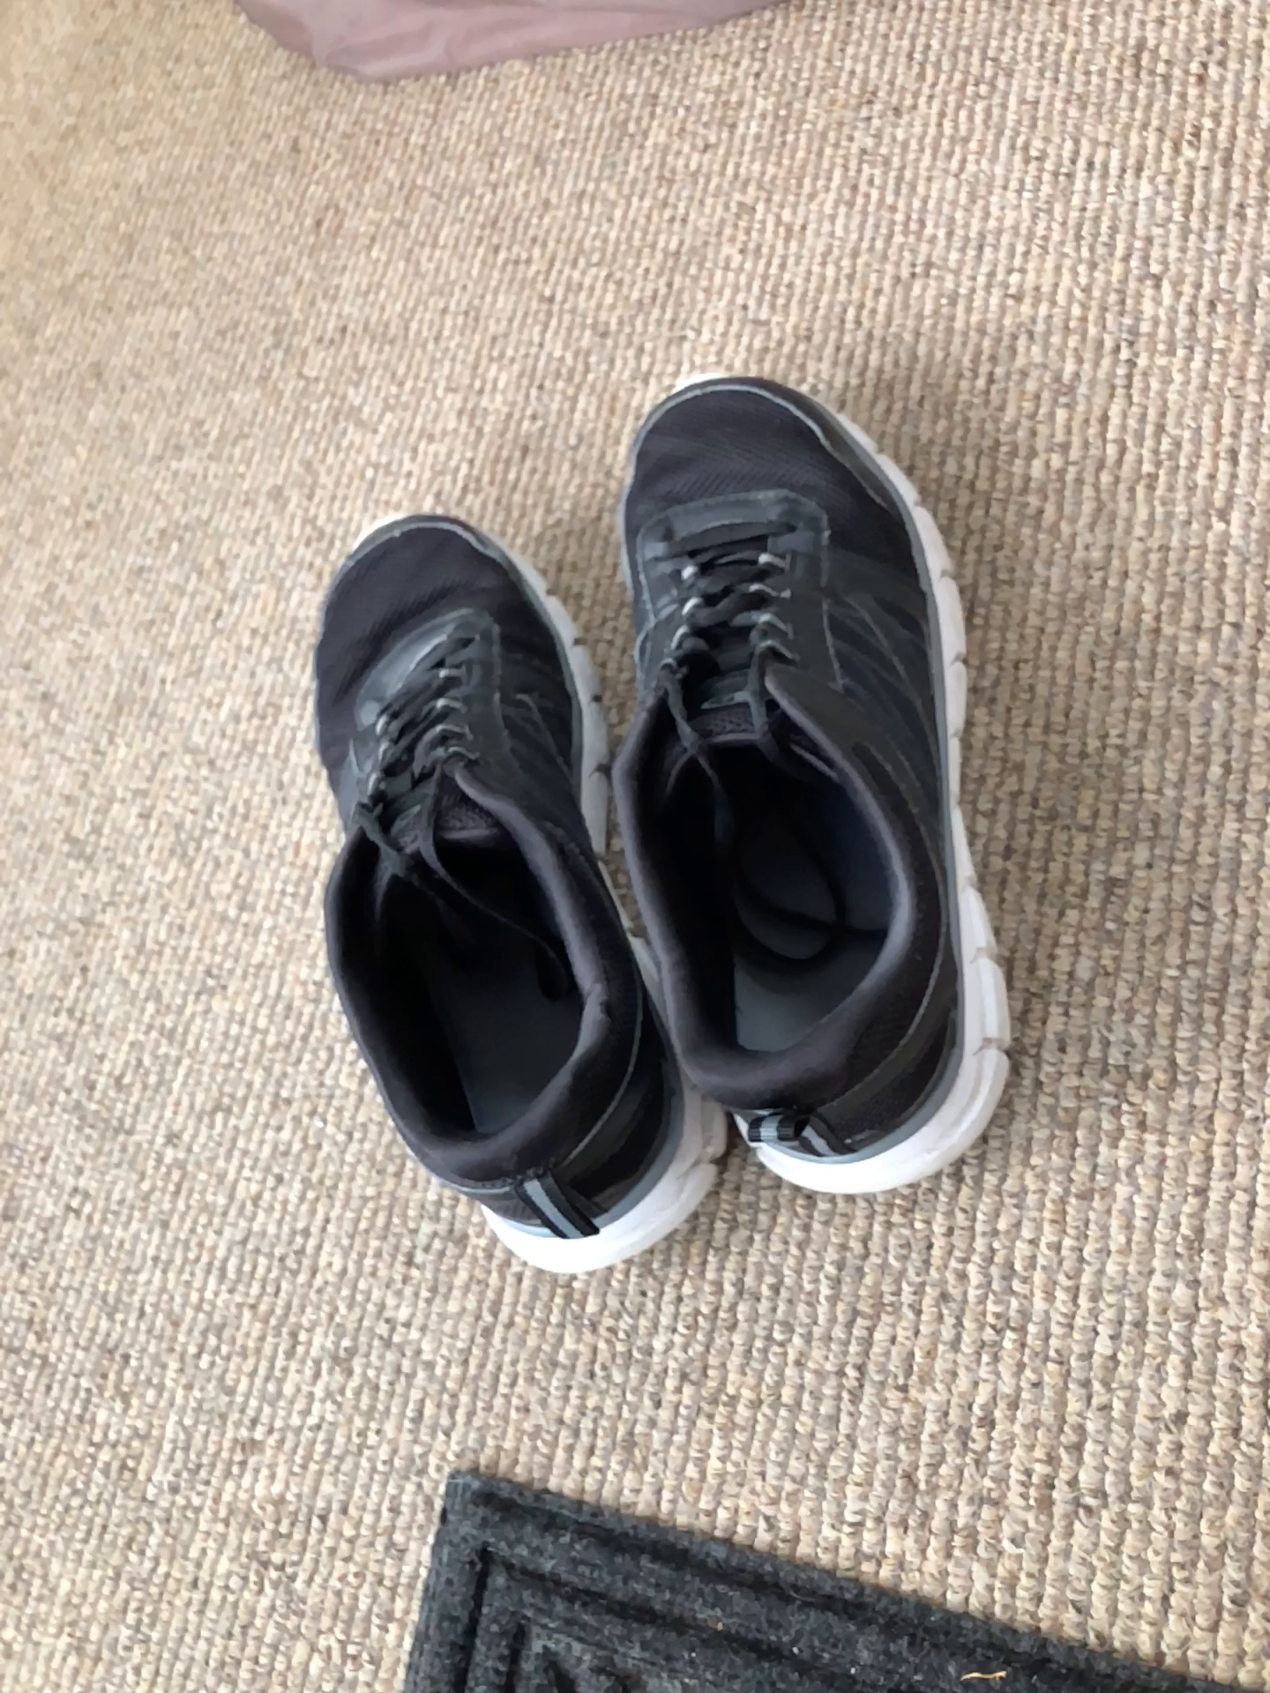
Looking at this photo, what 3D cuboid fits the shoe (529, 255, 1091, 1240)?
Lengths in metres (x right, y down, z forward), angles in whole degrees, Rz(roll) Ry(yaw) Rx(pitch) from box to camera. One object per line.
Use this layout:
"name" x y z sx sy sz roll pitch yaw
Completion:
"shoe" 0.051 -0.029 0.453 0.120 0.111 0.276 -13 64 17

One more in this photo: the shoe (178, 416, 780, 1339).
"shoe" -0.060 0.008 0.482 0.118 0.100 0.276 -23 62 12
